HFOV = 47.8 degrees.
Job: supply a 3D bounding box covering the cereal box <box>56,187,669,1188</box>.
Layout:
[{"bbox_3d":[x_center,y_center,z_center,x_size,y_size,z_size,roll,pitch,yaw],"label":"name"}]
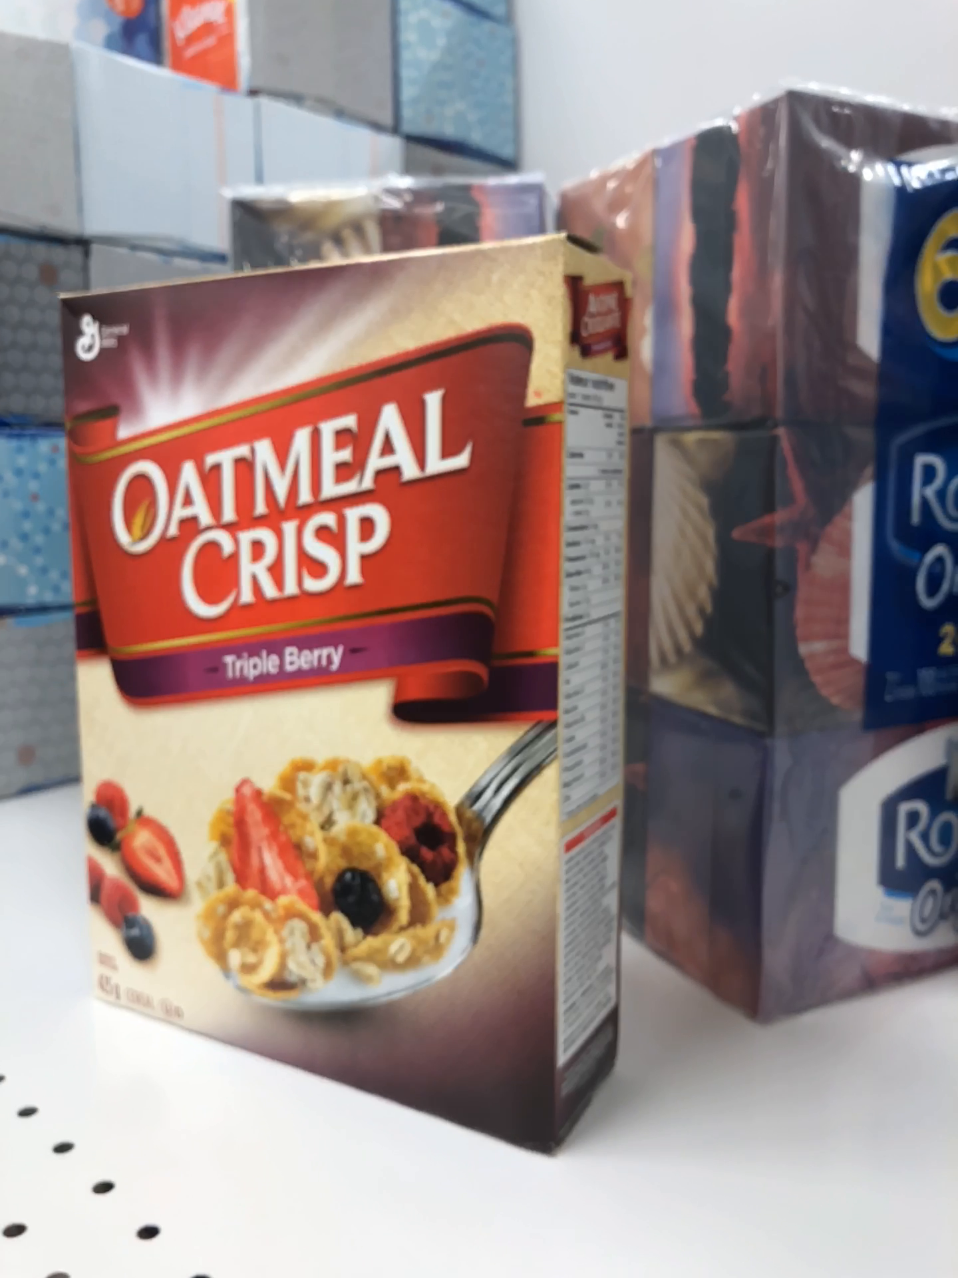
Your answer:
[{"bbox_3d":[-0.045,0.010,0.363,0.200,0.270,0.060,5,9,31],"label":"cereal box"}]
